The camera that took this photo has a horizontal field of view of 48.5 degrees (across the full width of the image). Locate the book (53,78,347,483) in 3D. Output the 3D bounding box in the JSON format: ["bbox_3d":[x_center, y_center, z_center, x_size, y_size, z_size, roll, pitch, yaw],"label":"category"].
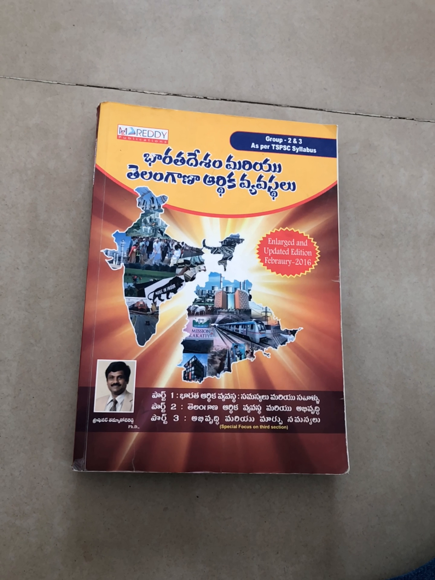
[{"bbox_3d":[-0.007,-0.011,0.353,0.190,0.030,0.280,2,78,-8],"label":"book"}]
